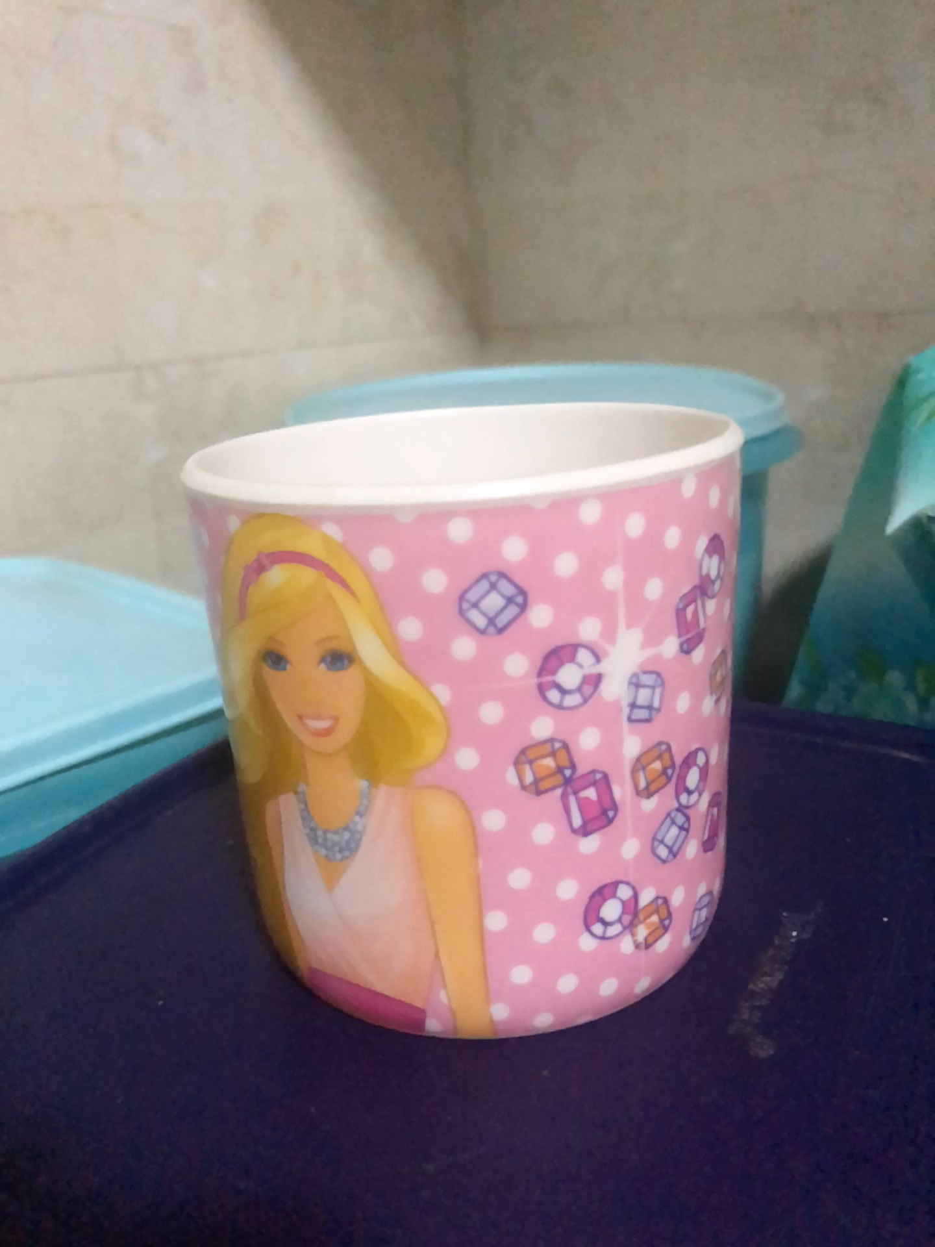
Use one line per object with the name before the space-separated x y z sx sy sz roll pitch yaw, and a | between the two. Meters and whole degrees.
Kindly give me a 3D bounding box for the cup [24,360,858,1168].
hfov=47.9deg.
cup | 0.009 0.003 0.178 0.080 0.080 0.120 7 20 31
